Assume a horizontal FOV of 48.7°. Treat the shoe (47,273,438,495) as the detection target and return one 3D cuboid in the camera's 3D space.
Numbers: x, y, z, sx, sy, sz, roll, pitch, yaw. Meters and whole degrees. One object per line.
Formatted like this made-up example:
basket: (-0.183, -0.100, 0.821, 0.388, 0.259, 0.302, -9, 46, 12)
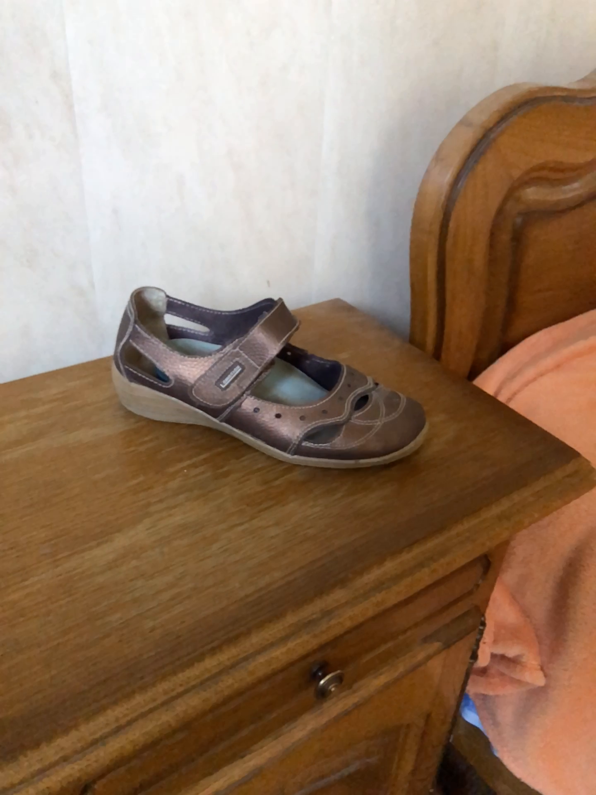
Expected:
shoe: (-0.035, -0.016, 0.493, 0.260, 0.089, 0.101, 9, 32, 8)
